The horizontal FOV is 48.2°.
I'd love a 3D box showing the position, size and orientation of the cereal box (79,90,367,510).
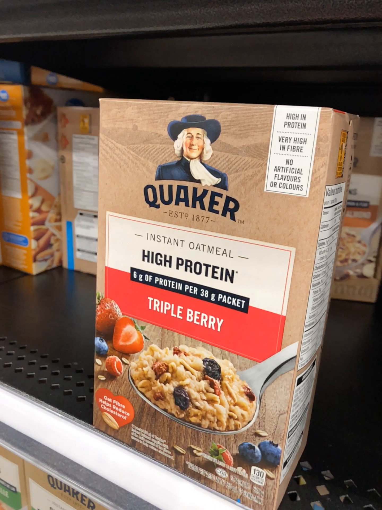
[{"bbox_3d":[0.010,0.016,0.246,0.130,0.199,0.070,12,16,28],"label":"cereal box"}]
